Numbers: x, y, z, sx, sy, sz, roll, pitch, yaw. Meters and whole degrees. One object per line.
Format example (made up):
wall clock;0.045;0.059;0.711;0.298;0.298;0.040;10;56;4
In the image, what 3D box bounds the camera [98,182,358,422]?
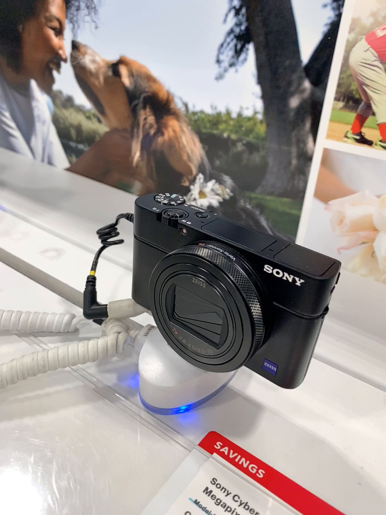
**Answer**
camera;0.008;0.013;0.186;0.105;0.060;0.043;25;32;29
